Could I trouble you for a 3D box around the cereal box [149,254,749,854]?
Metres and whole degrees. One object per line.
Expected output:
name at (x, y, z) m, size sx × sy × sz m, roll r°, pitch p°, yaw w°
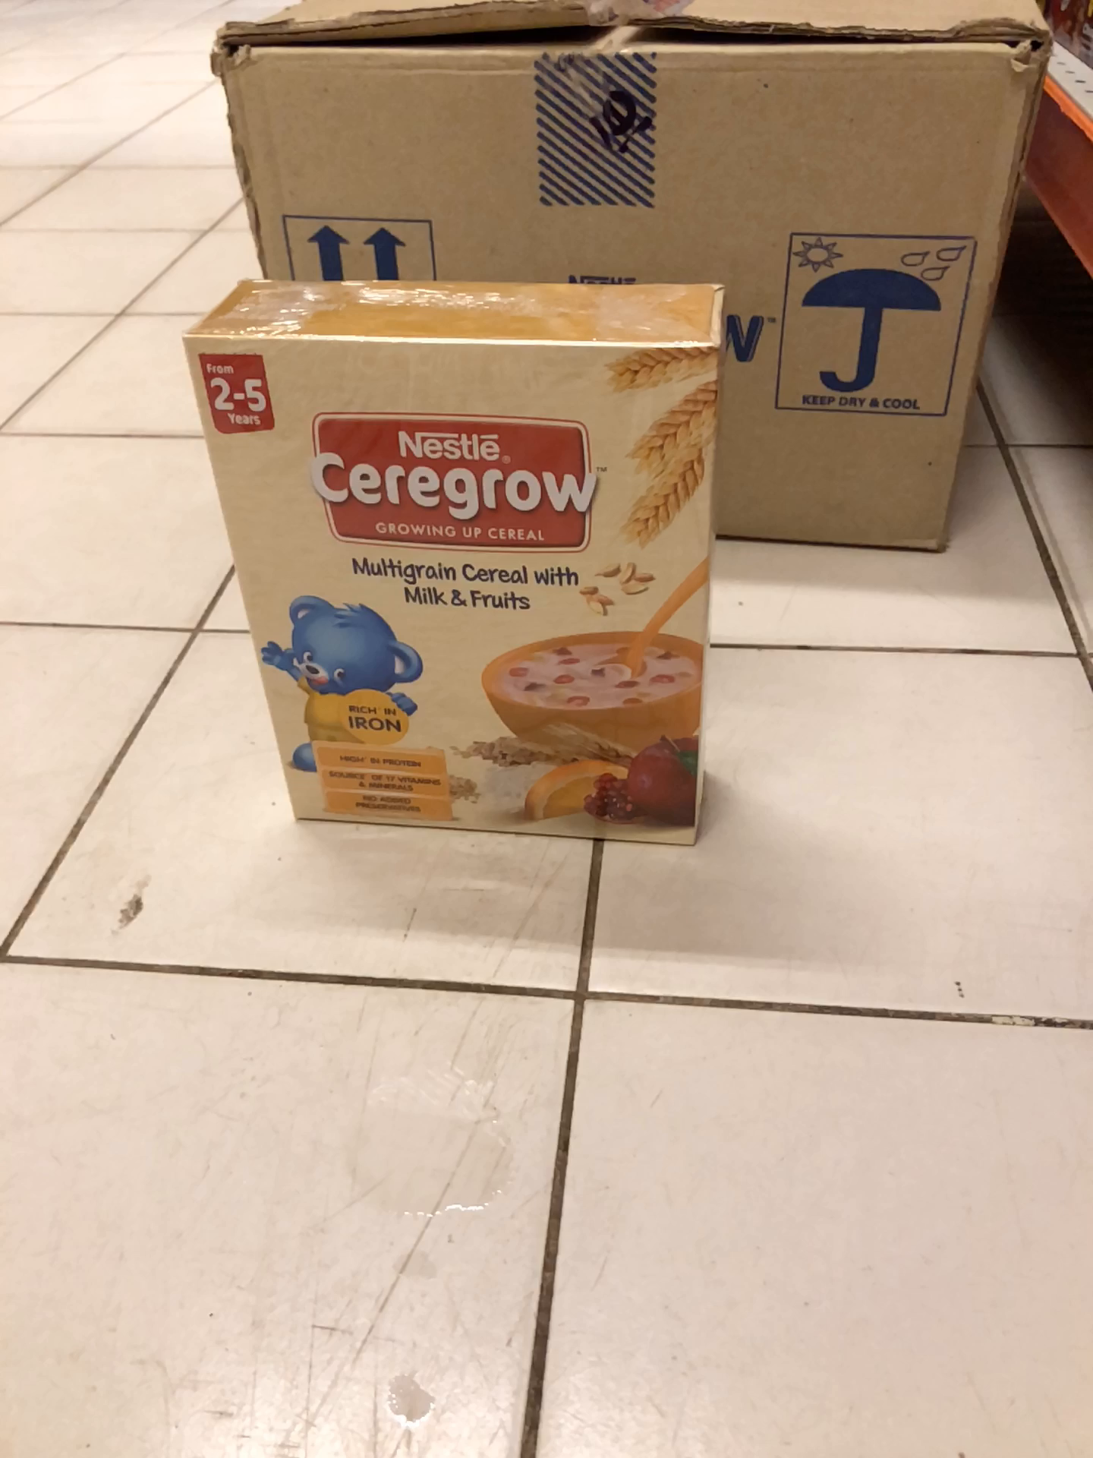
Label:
cereal box at (-0.021, -0.050, 0.395) m, size 0.160 × 0.189 × 0.050 m, roll 3°, pitch 39°, yaw 8°
